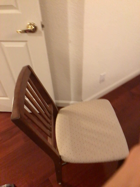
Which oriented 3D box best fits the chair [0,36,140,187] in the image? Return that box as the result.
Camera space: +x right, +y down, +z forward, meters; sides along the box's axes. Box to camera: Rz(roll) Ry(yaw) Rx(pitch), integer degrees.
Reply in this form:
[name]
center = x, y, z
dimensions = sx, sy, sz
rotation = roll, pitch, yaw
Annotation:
[chair]
center = 0.070, 0.223, 0.963
dimensions = 0.560, 0.924, 0.503
rotation = -7, 45, 0
